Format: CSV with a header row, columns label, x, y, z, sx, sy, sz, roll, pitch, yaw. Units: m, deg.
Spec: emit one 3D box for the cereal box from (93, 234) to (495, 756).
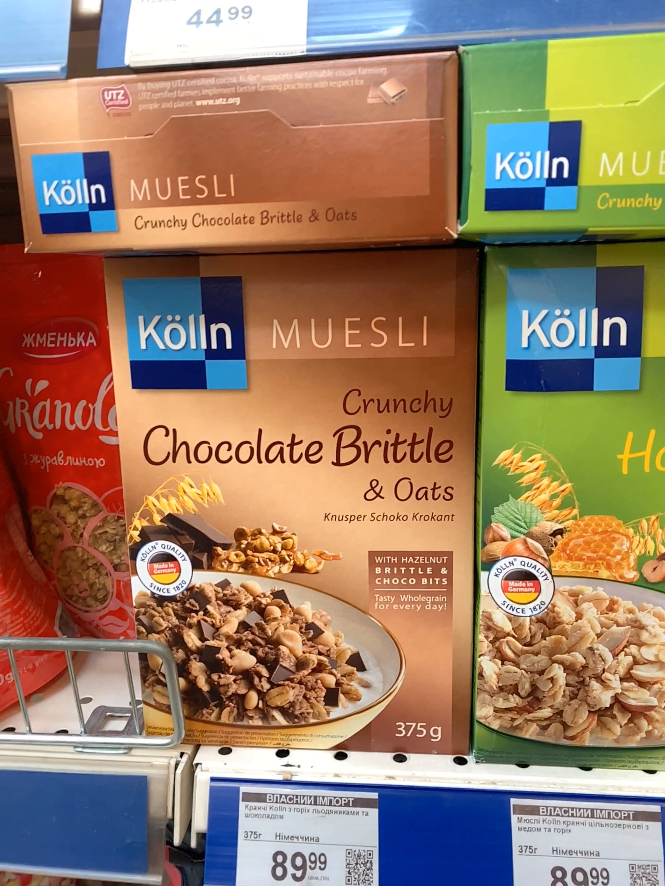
label,x,y,z,sx,sy,sz,roll,pitch,yaw
cereal box,-0.012,0.021,0.303,0.150,0.209,0.060,1,11,6
